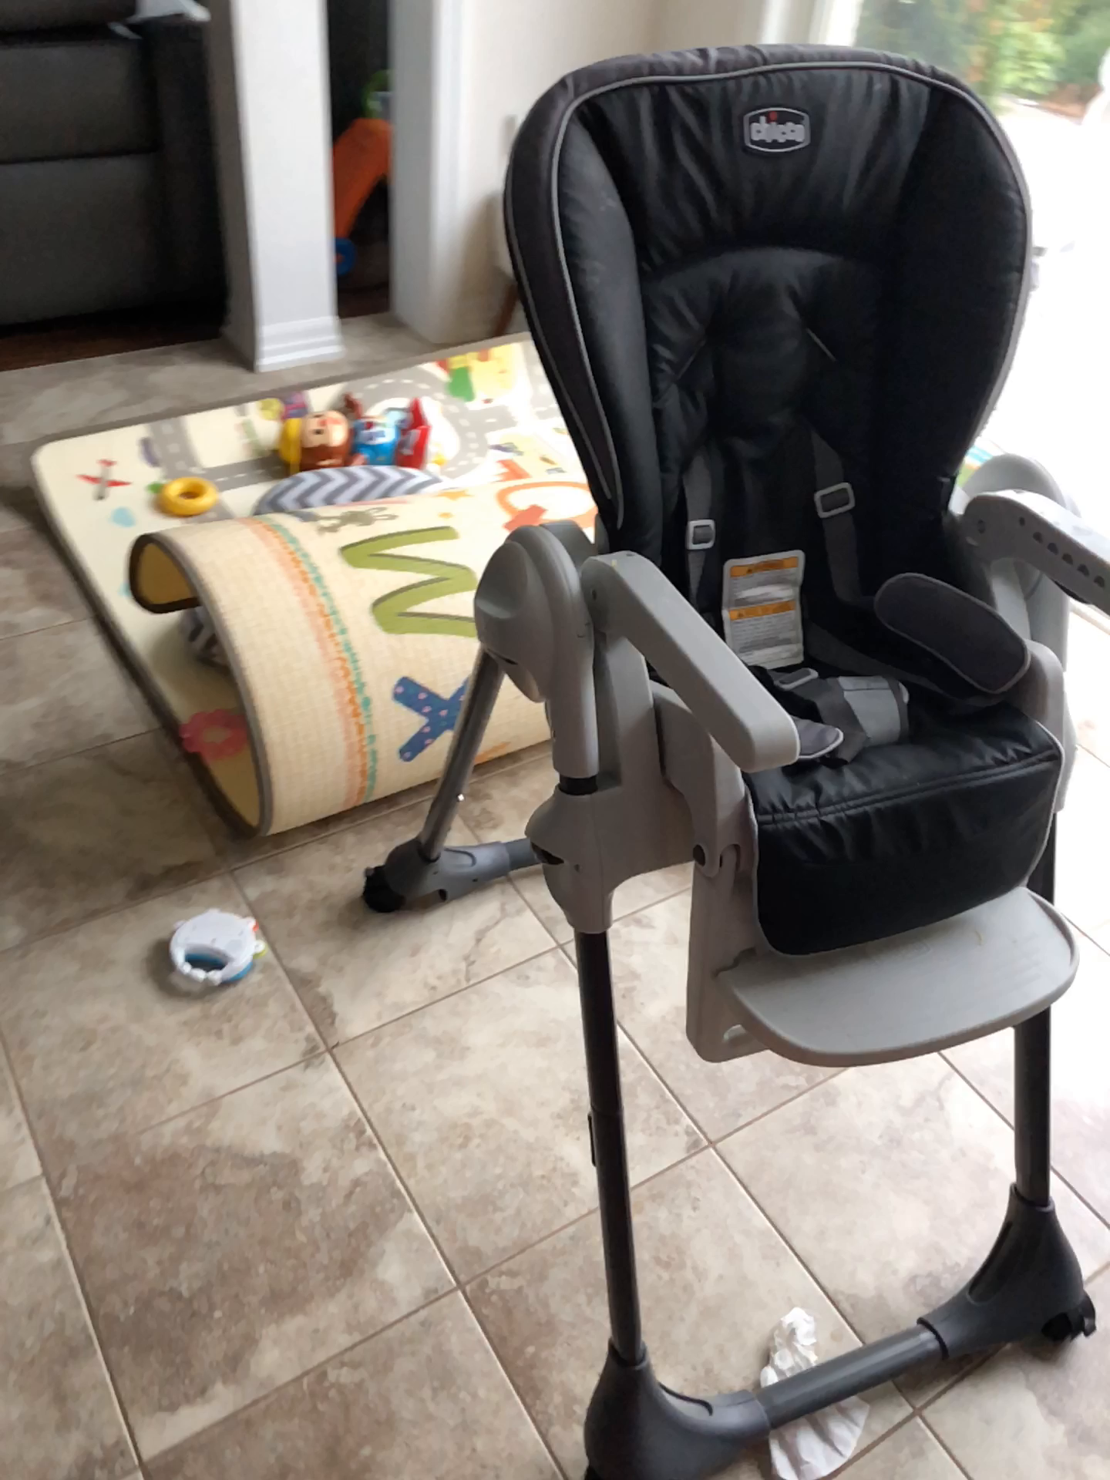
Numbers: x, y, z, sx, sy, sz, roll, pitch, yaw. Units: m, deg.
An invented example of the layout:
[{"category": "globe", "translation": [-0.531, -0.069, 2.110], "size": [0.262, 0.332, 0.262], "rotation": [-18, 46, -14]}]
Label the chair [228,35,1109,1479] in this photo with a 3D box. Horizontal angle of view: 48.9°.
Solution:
[{"category": "chair", "translation": [0.162, 0.020, 1.117], "size": [0.651, 0.996, 0.883], "rotation": [-12, 43, -19]}]
